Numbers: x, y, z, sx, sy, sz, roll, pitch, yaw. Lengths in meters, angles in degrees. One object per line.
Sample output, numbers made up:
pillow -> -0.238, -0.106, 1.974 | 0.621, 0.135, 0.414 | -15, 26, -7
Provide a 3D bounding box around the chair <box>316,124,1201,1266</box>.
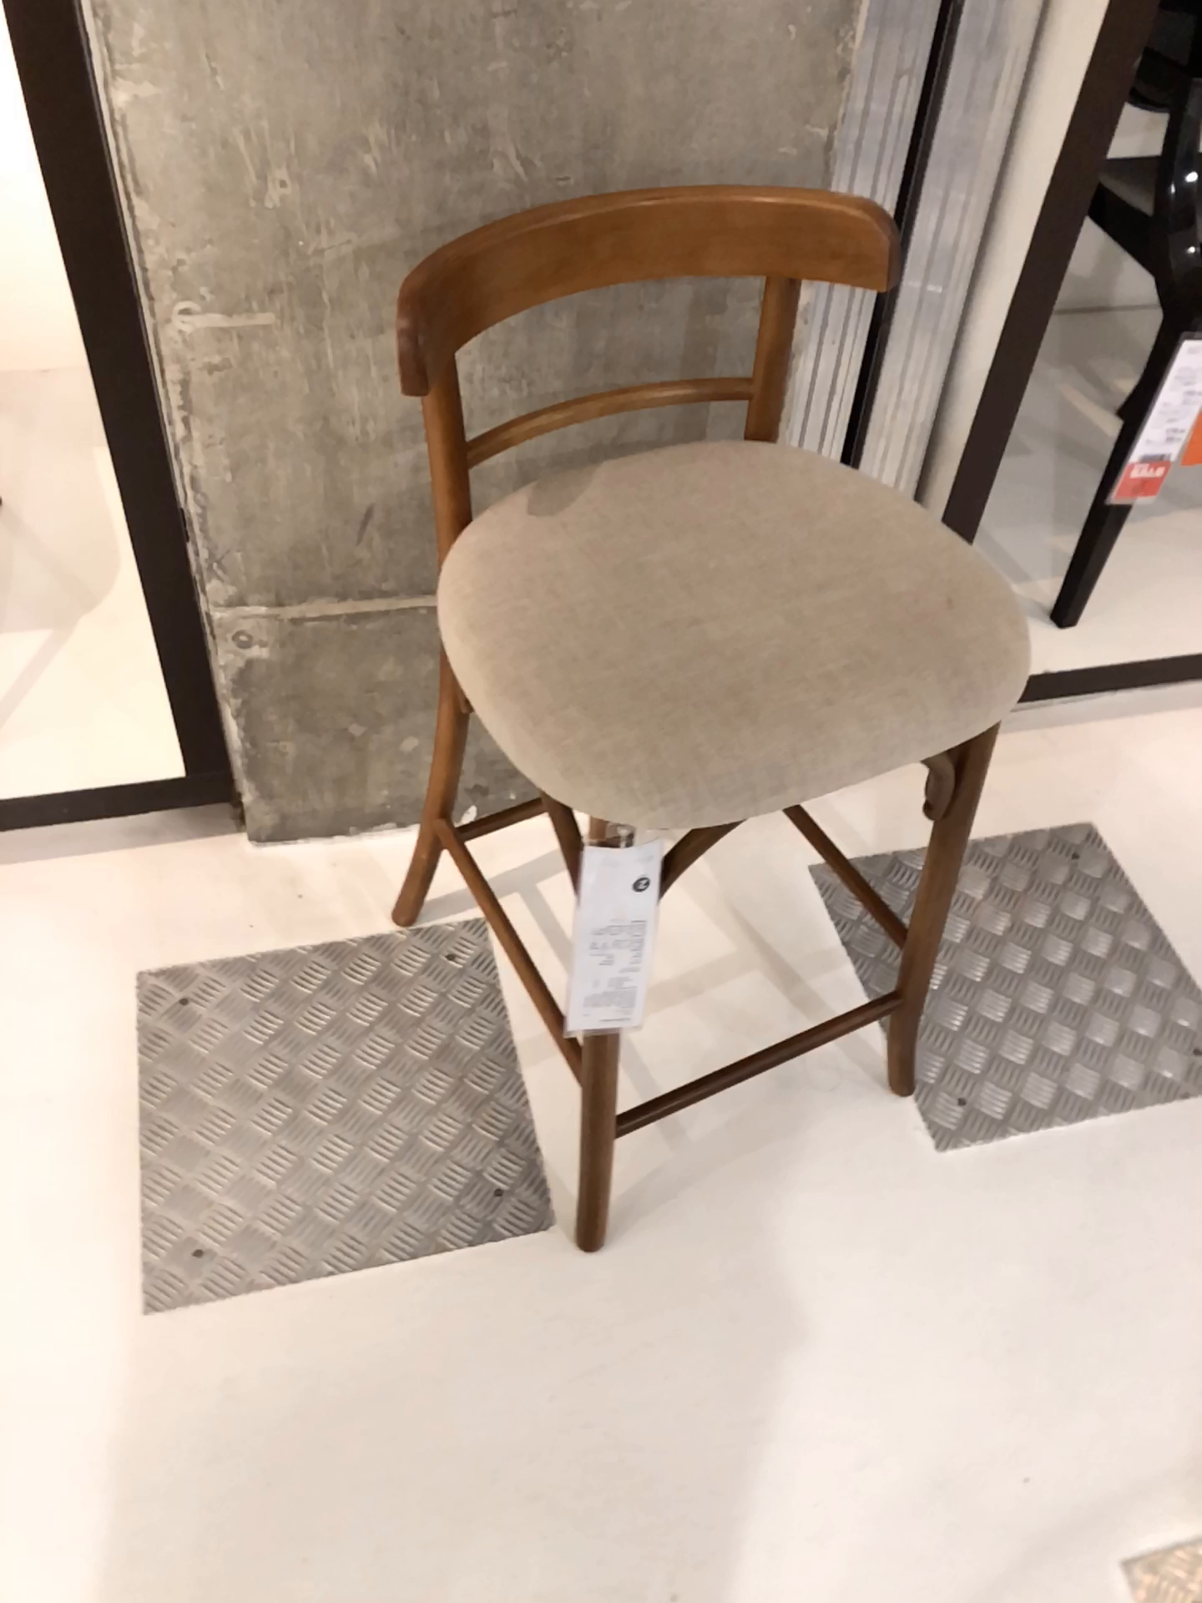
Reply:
chair -> 0.096, -0.067, 1.183 | 0.481, 0.794, 0.482 | -20, 53, -22
